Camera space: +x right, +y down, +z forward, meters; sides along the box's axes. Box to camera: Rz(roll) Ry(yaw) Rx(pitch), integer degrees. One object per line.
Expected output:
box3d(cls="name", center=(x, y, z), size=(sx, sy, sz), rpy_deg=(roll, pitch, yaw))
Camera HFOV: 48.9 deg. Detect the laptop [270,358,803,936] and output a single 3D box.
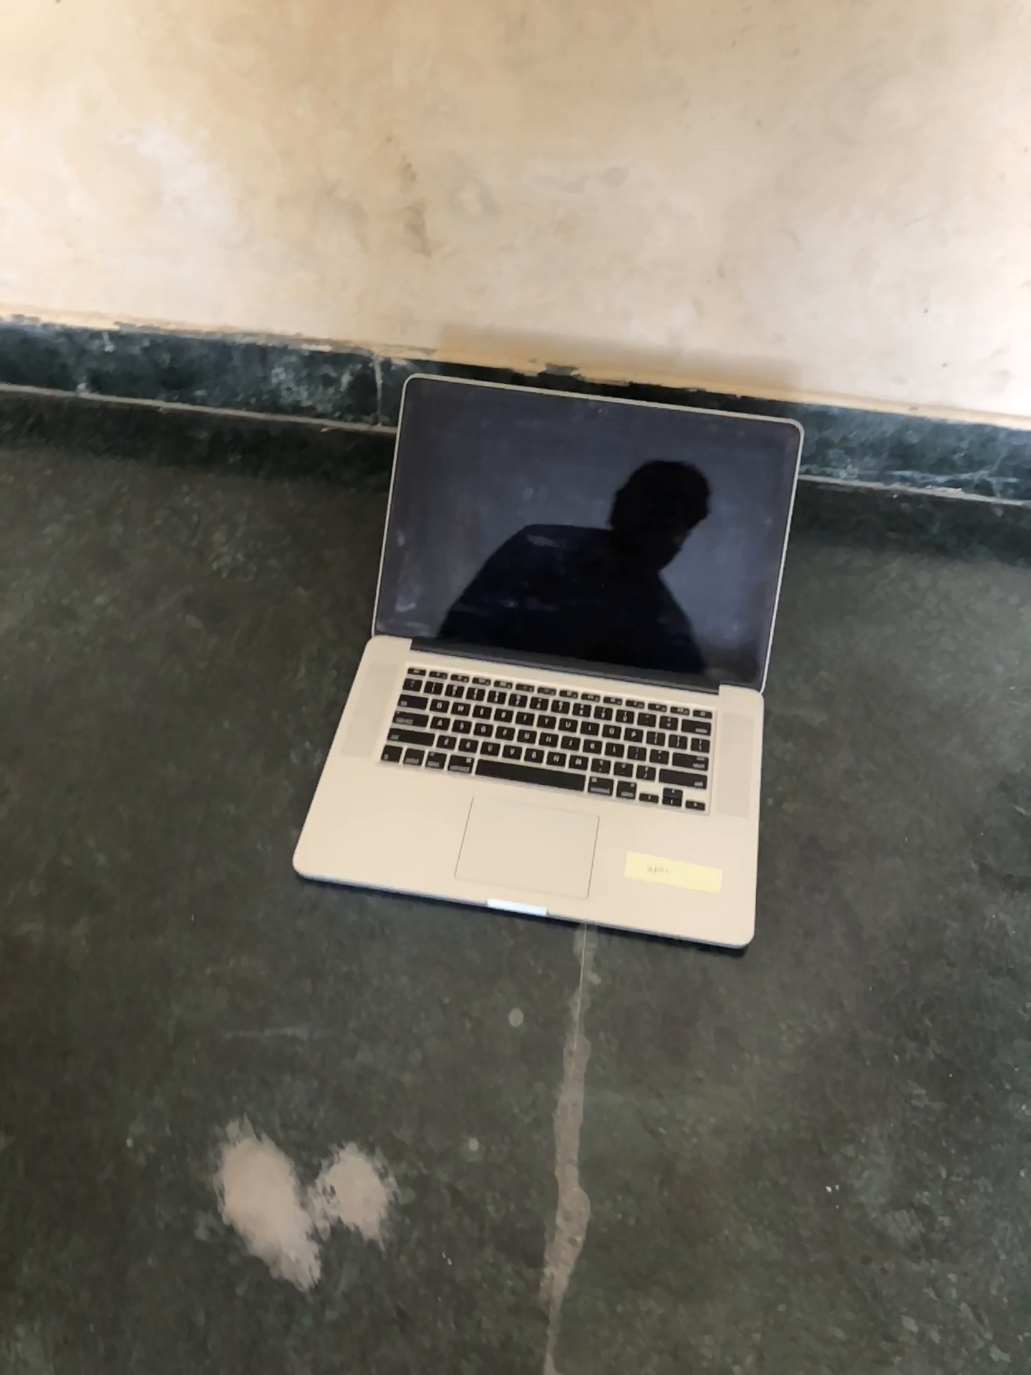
box3d(cls="laptop", center=(0.040, -0.053, 0.922), size=(0.342, 0.130, 0.435), rpy_deg=(8, 55, 4))
